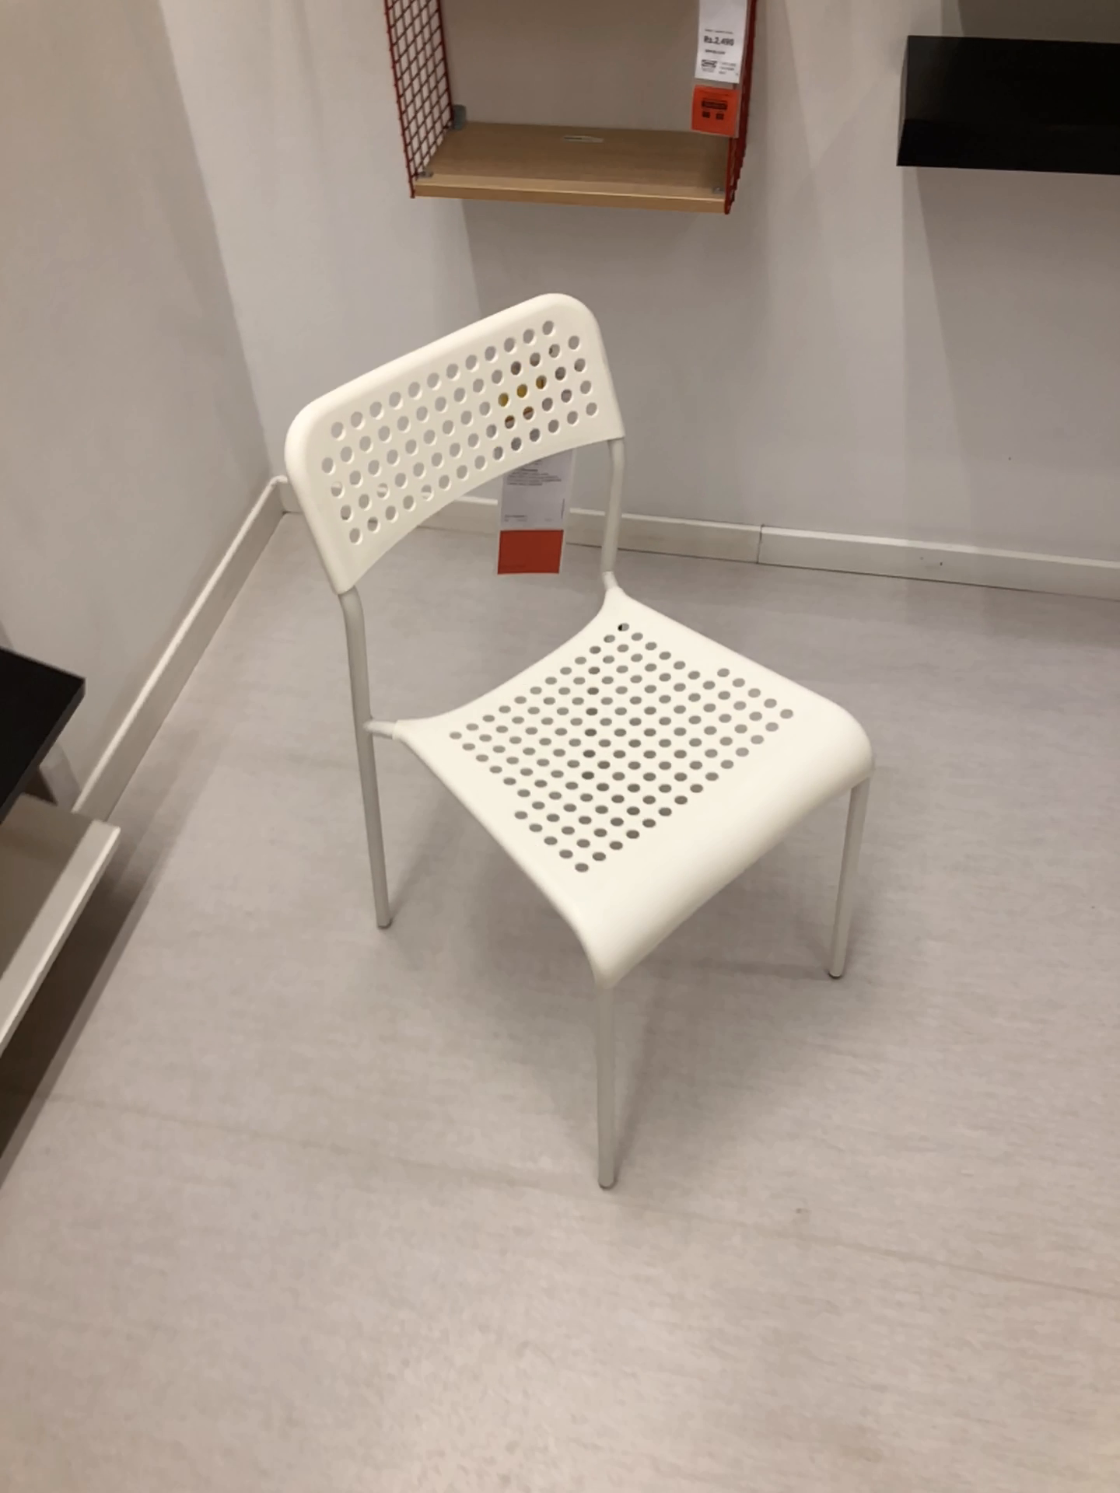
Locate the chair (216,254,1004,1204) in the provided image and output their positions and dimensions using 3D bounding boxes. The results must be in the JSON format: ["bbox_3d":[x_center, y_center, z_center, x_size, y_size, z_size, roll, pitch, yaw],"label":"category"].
[{"bbox_3d":[0.041,0.004,1.255,0.421,0.736,0.472,-34,55,-25],"label":"chair"}]
